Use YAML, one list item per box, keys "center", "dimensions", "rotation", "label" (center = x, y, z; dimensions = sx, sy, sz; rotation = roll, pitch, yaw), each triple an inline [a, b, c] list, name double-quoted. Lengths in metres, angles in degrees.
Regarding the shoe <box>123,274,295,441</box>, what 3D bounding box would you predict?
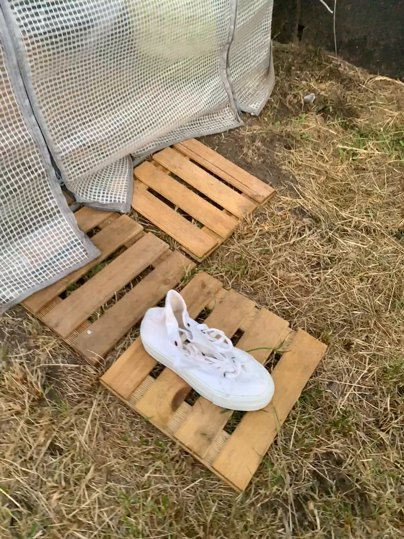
- center: [0.006, 0.140, 0.687]
  dimensions: [0.261, 0.129, 0.100]
  rotation: [30, 56, 25]
  label: "shoe"
